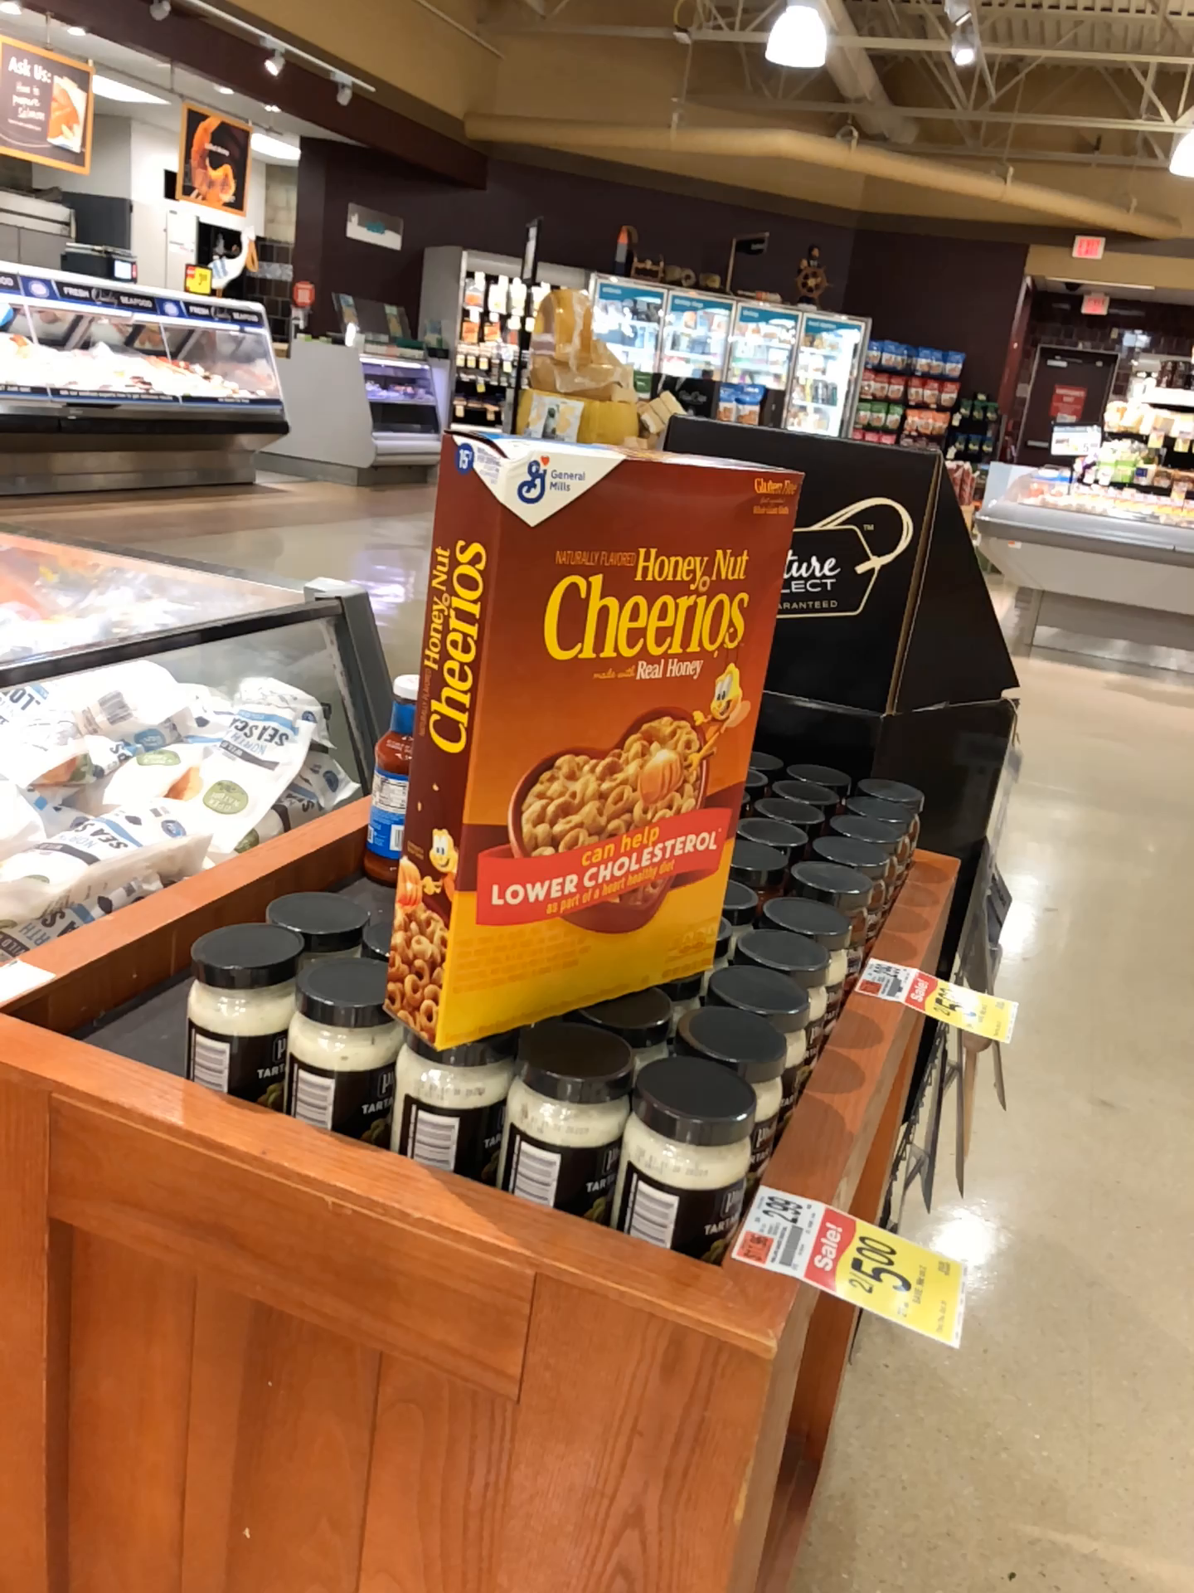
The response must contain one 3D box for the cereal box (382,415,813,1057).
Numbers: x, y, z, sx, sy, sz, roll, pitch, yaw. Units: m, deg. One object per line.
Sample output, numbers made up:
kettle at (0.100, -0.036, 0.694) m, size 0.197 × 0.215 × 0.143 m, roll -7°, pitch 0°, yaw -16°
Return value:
cereal box at (0.002, -0.033, 0.660) m, size 0.201 × 0.288 × 0.050 m, roll -9°, pitch 24°, yaw -42°
